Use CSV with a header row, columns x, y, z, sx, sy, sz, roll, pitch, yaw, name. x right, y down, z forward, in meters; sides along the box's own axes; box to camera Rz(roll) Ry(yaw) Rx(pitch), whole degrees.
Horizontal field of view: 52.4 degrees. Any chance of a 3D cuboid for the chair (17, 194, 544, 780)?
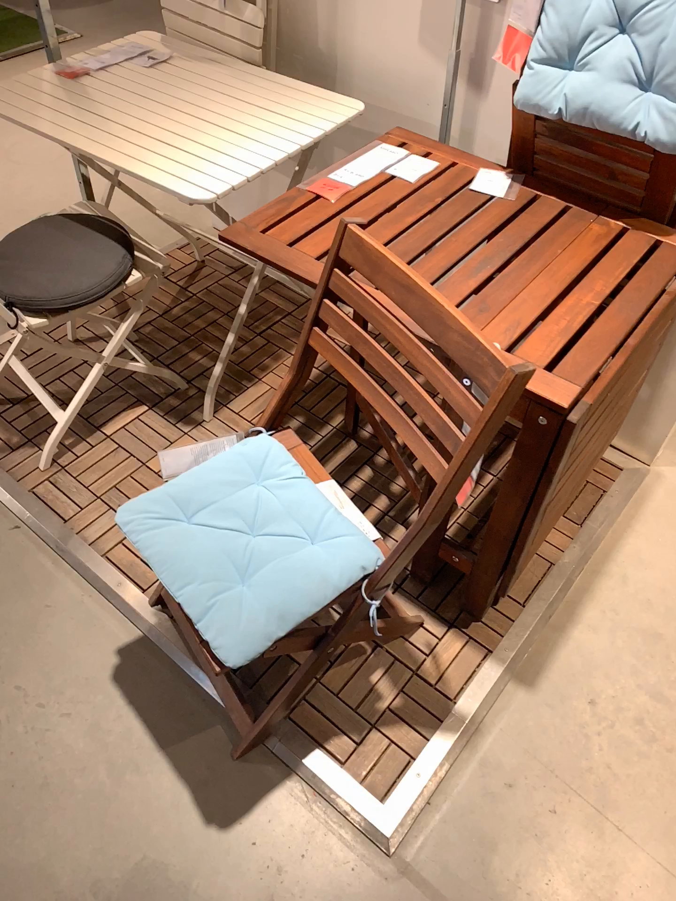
x,y,z,sx,sy,sz,roll,pitch,yaw,name
-0.099,0.091,1.186,0.520,0.777,0.471,-25,54,-22,chair
